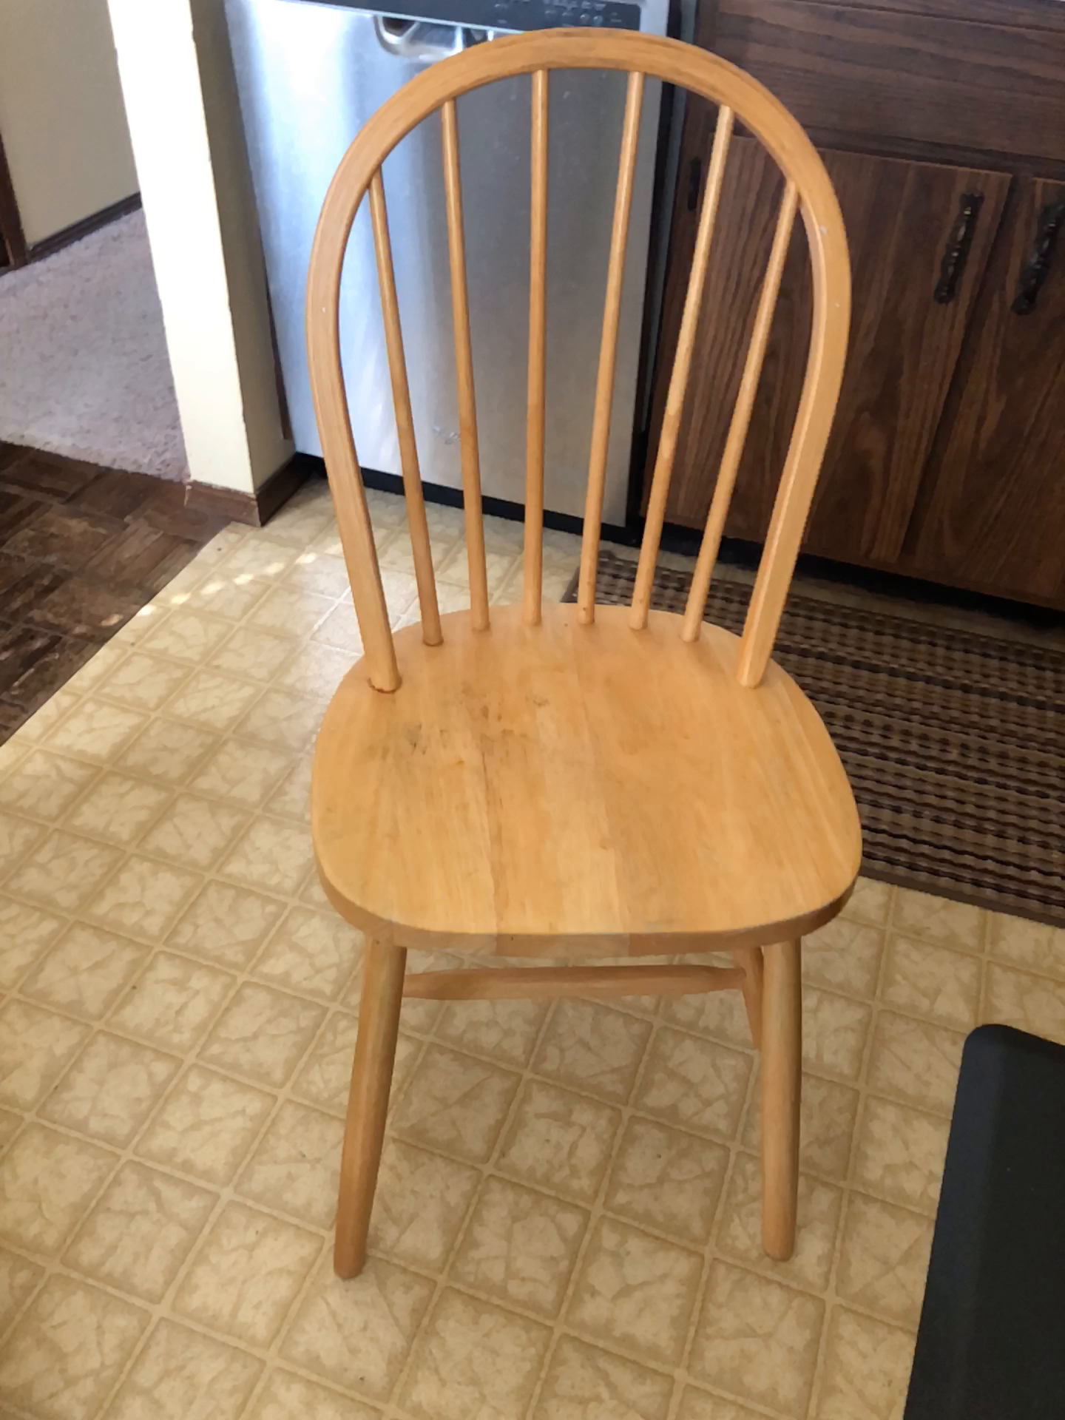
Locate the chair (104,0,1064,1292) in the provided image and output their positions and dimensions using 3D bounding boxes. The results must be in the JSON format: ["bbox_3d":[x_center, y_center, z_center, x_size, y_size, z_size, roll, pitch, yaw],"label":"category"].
[{"bbox_3d":[0.034,-0.020,0.957,0.460,0.898,0.561,-1,41,-4],"label":"chair"}]
